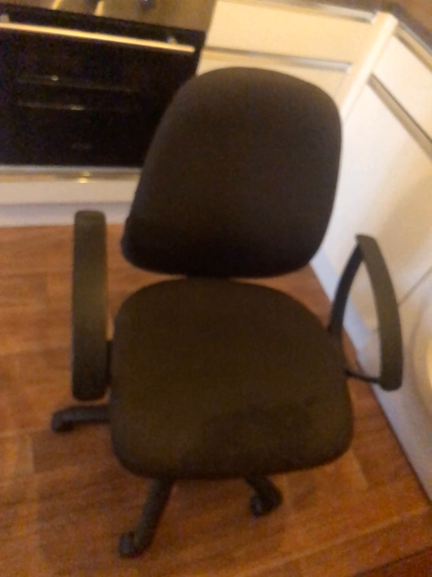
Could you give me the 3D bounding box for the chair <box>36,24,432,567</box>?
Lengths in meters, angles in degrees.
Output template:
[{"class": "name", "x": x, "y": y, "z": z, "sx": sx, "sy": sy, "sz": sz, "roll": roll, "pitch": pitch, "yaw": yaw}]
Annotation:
[{"class": "chair", "x": 0.023, "y": 0.096, "z": 1.006, "sx": 0.674, "sy": 0.816, "sz": 0.655, "roll": 5, "pitch": 50, "yaw": -17}]
